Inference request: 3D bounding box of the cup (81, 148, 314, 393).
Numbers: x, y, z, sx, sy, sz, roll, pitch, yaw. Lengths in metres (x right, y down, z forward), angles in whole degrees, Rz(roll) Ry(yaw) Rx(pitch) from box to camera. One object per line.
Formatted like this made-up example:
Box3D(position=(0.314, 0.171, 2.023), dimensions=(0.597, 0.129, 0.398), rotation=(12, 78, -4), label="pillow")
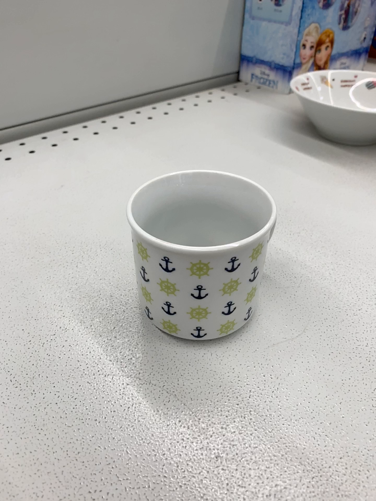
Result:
Box3D(position=(0.009, 0.003, 0.223), dimensions=(0.078, 0.076, 0.096), rotation=(23, 44, 27), label="cup")
